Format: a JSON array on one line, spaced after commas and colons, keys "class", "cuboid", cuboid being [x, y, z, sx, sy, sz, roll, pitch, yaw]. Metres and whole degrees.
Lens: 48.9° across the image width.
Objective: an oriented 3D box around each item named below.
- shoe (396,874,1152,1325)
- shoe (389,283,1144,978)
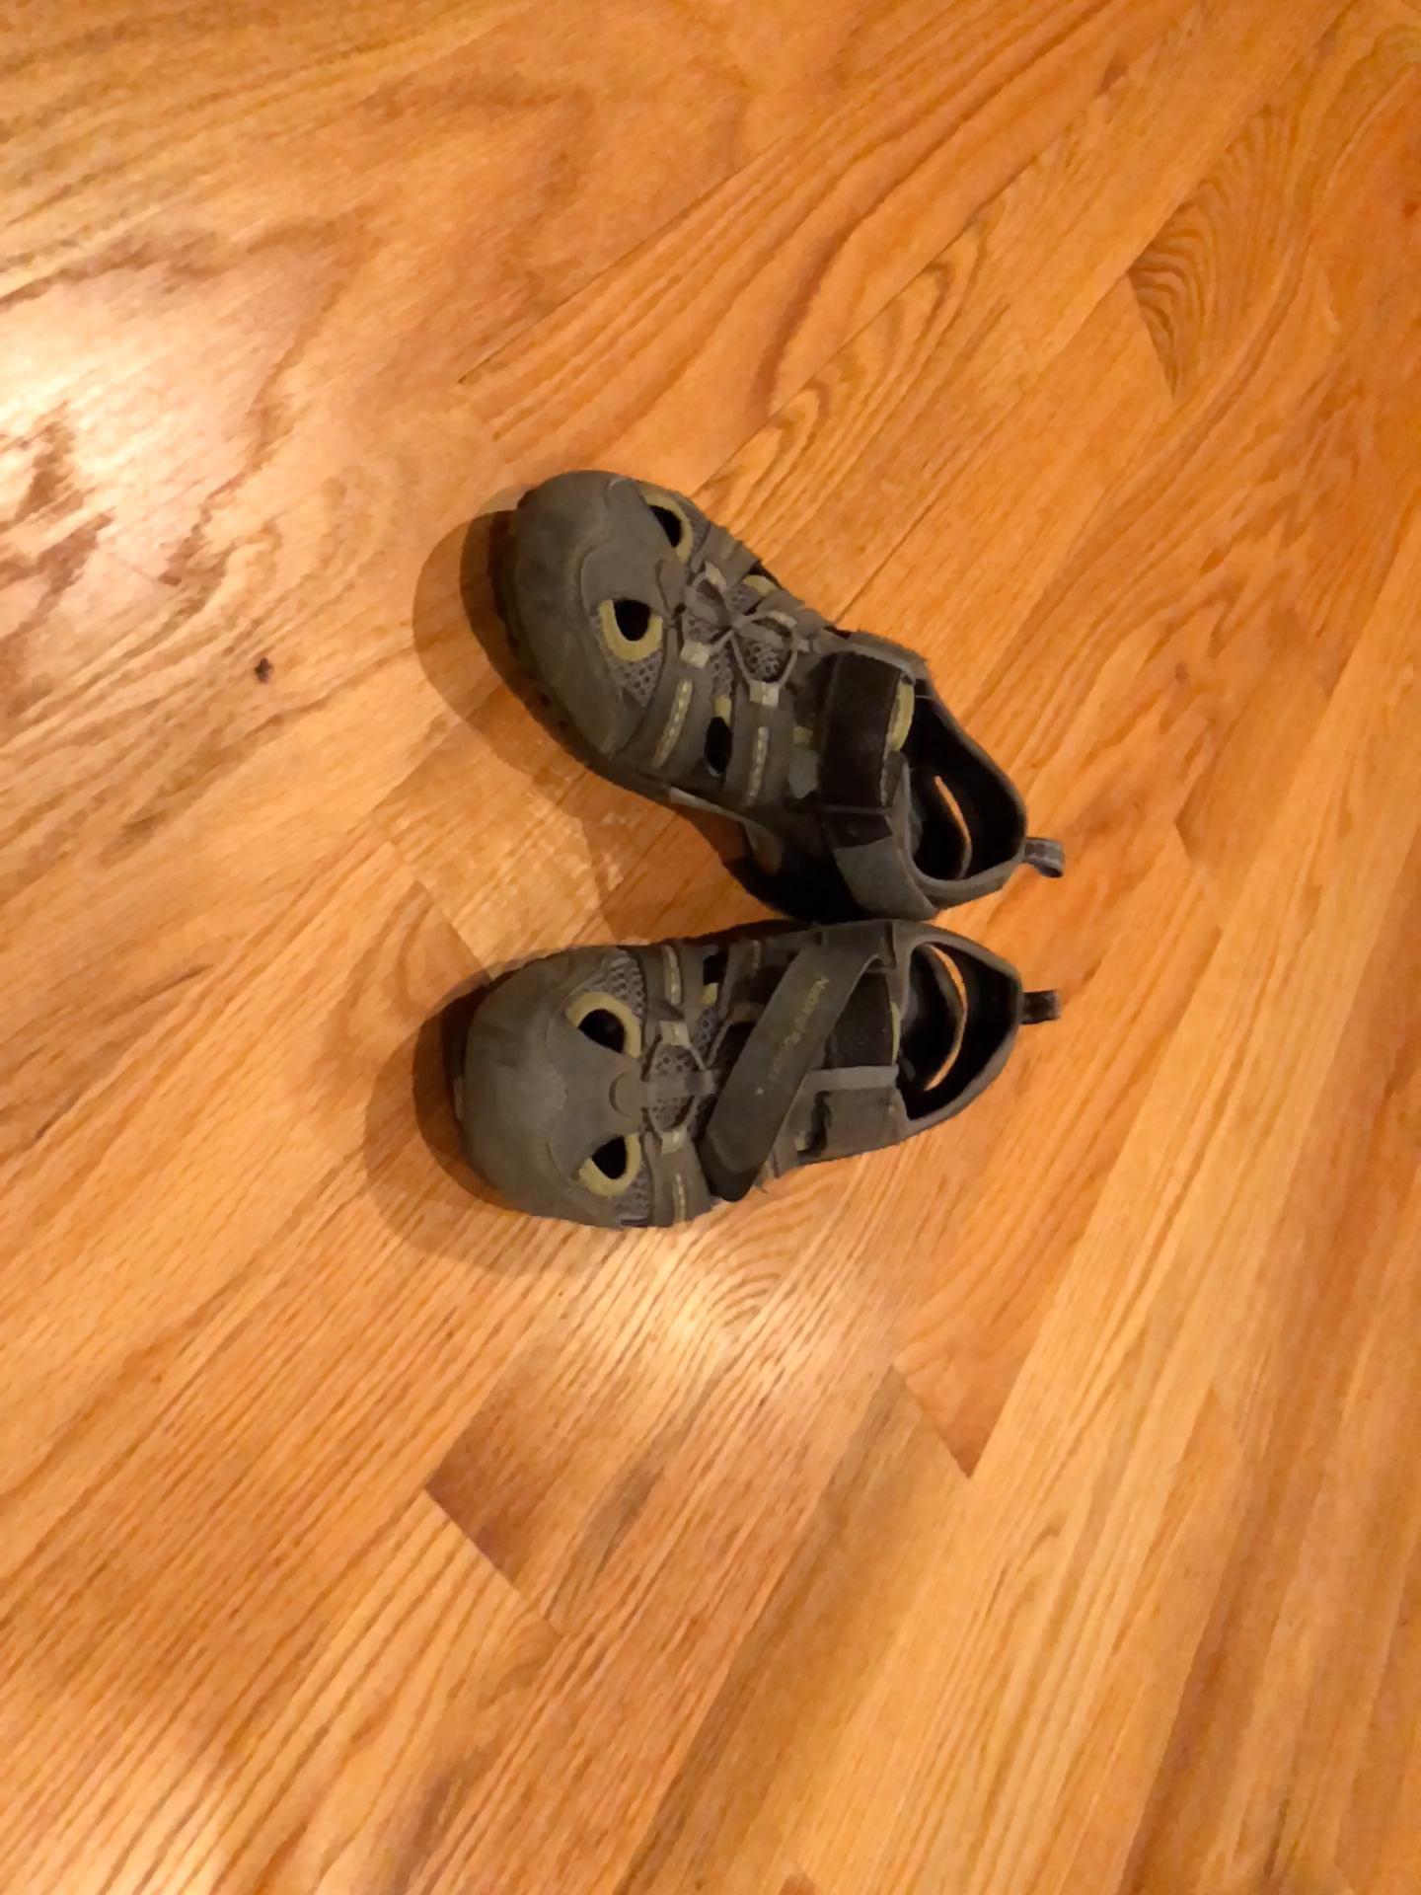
[{"class": "shoe", "cuboid": [0.034, 0.037, 0.525, 0.246, 0.112, 0.100, -8, 93, -47]}, {"class": "shoe", "cuboid": [0.033, -0.086, 0.537, 0.246, 0.112, 0.100, 33, 64, -41]}]
